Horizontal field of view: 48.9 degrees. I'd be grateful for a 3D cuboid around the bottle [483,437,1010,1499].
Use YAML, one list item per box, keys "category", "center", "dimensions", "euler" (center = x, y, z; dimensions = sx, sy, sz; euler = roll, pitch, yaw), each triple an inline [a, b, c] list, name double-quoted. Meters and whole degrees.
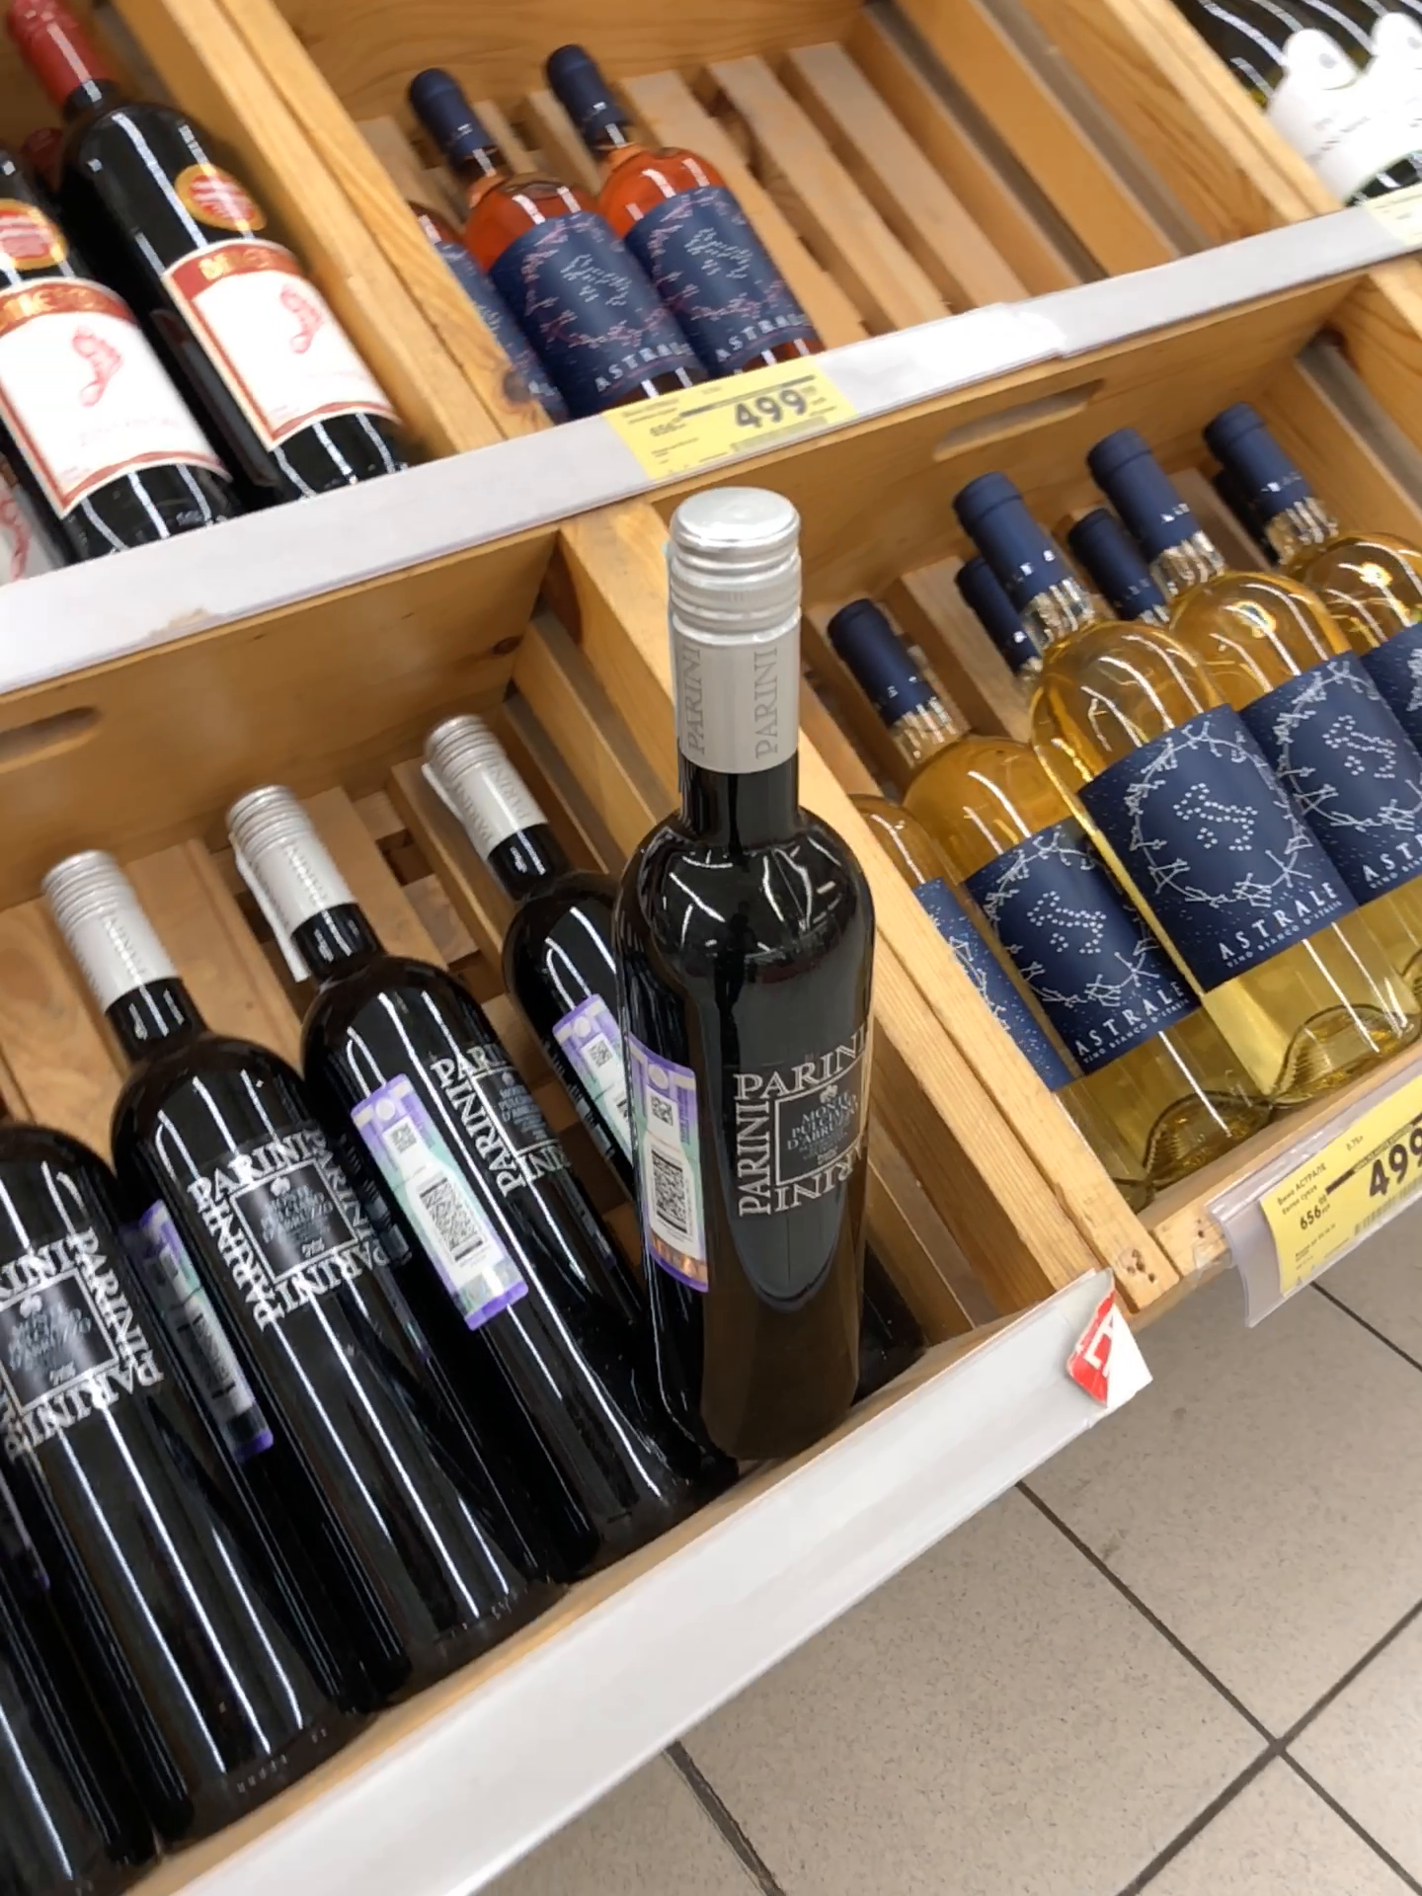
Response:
- category: "bottle"
  center: [0.010, 0.018, 0.429]
  dimensions: [0.090, 0.278, 0.080]
  euler: [-18, 39, -20]
